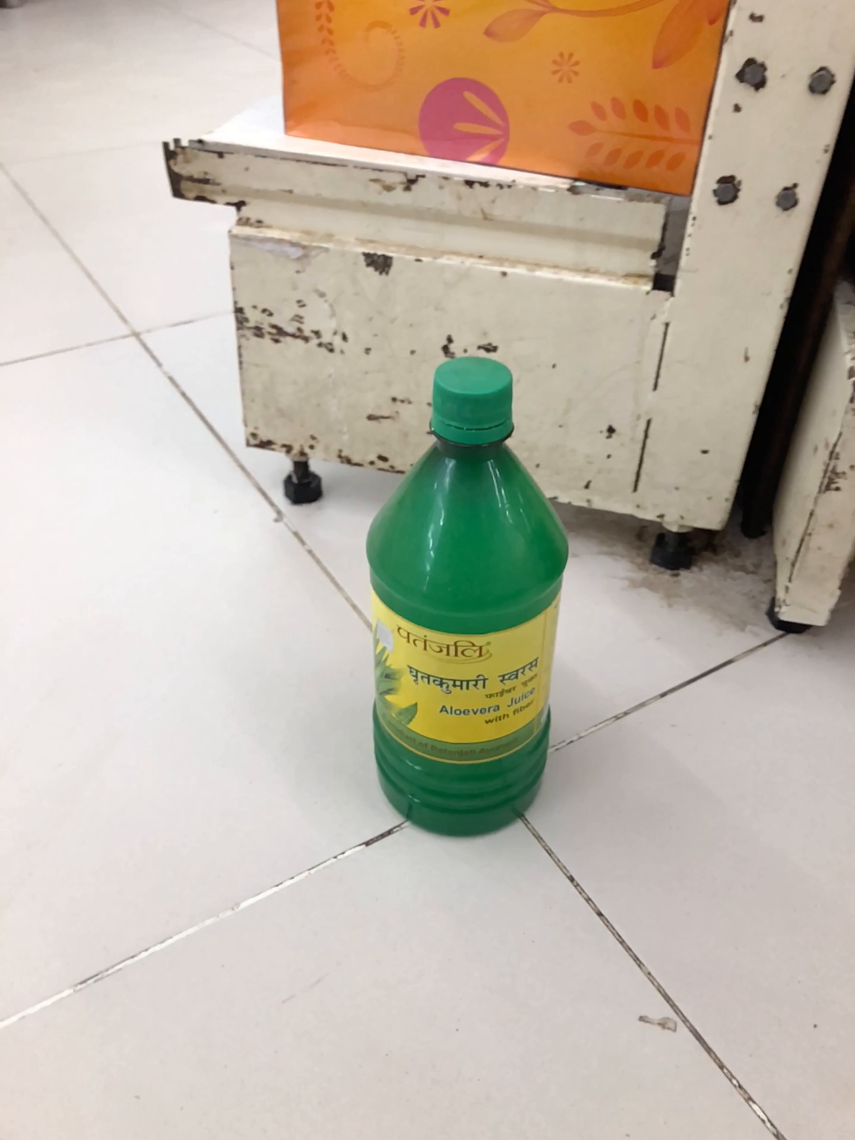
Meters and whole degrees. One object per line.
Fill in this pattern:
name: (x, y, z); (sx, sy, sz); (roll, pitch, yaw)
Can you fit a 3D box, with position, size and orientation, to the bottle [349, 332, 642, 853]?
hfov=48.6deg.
bottle: (0.021, 0.018, 0.432); (0.100, 0.219, 0.101); (0, 39, 0)
